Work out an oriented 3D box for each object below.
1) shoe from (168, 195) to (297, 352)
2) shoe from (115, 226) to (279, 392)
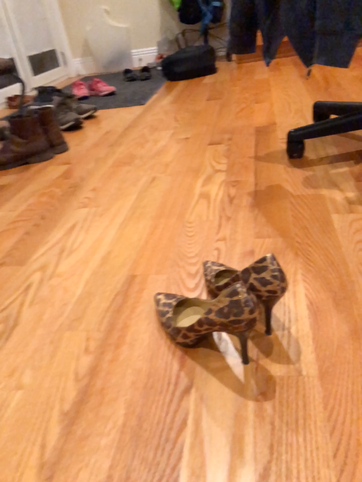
[{"bbox_3d":[0.072,0.036,0.608,0.076,0.135,0.228,-20,31,-18],"label":"shoe"},{"bbox_3d":[0.019,0.083,0.559,0.076,0.136,0.228,-32,36,-34],"label":"shoe"}]
